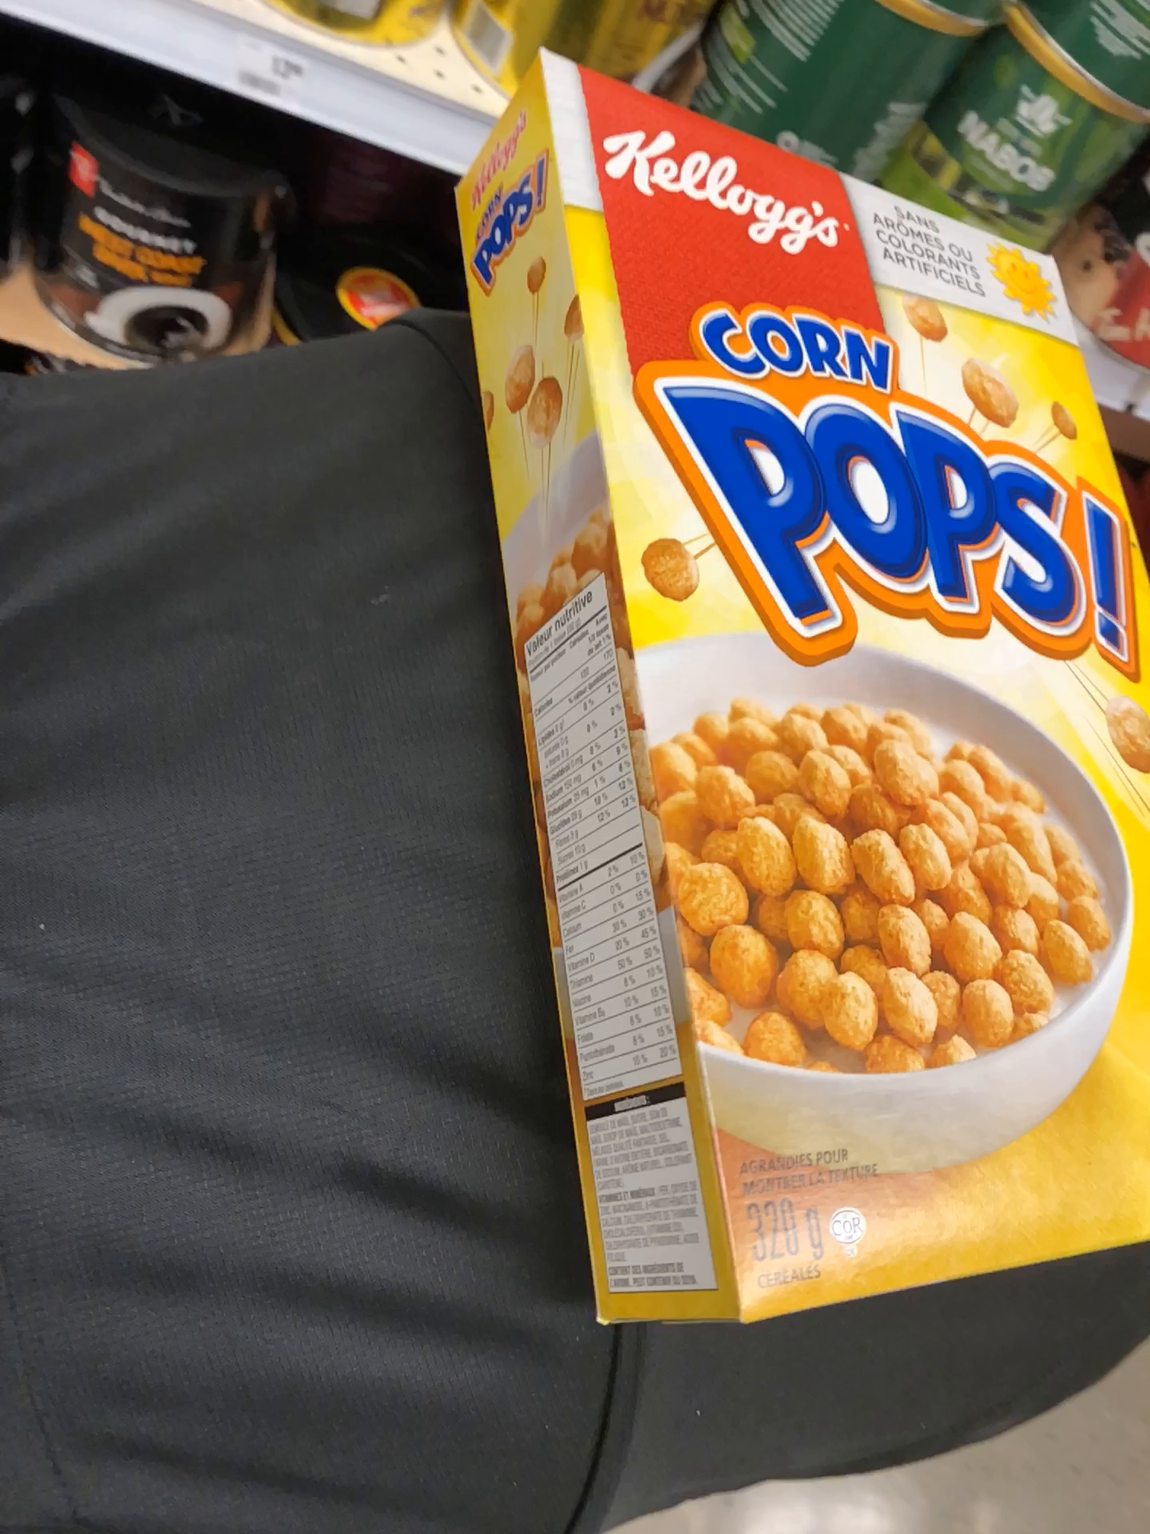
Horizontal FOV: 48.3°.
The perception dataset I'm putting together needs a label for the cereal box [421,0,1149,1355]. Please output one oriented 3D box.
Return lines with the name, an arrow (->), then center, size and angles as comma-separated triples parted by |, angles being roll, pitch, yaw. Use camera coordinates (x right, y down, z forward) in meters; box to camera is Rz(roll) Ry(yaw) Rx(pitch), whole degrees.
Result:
cereal box -> 0.077, -0.040, 0.332 | 0.201, 0.060, 0.320 | 4, 69, -30
